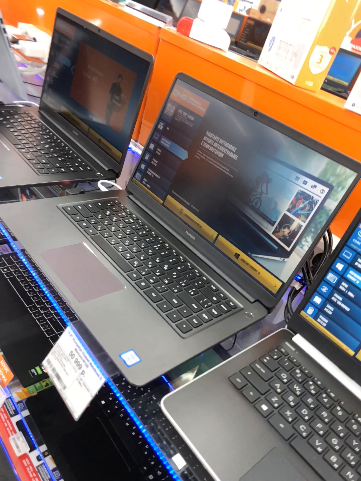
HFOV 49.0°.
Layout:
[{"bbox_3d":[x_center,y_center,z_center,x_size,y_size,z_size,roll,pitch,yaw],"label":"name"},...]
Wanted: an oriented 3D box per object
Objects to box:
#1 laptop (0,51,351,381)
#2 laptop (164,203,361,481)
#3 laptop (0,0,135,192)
[{"bbox_3d":[-0.032,-0.071,0.525,0.288,0.212,0.339,-15,45,-42],"label":"laptop"},{"bbox_3d":[0.187,0.124,0.323,0.243,0.195,0.270,-12,39,-38],"label":"laptop"},{"bbox_3d":[-0.291,-0.295,0.735,0.242,0.230,0.356,-14,44,-43],"label":"laptop"}]
